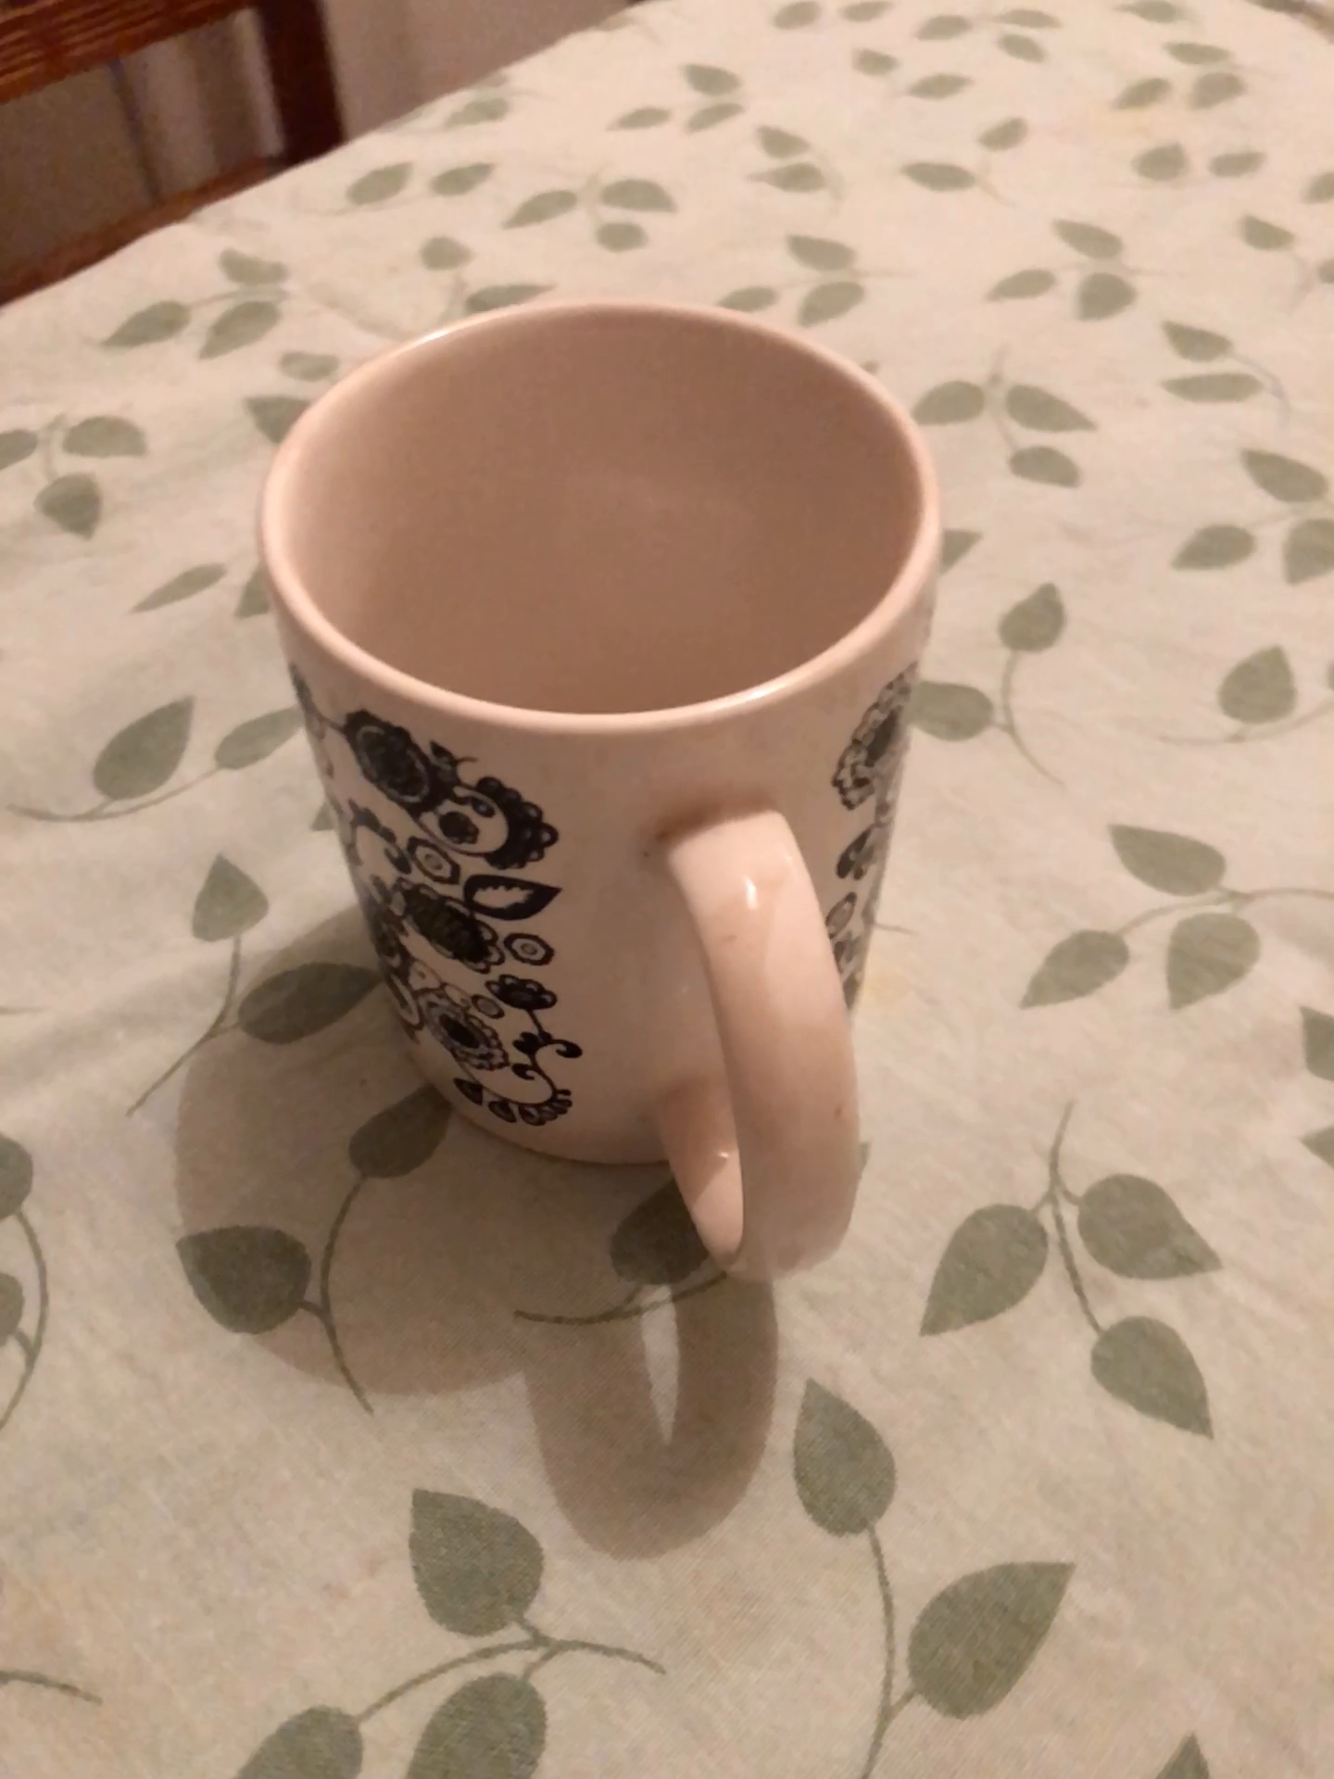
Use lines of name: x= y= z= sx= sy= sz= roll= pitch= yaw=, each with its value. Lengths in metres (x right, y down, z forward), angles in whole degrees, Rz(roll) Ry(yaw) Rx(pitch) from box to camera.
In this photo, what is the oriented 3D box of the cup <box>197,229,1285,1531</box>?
cup: x=-0.003 y=-0.003 z=0.195 sx=0.080 sy=0.099 sz=0.121 roll=-13 pitch=54 yaw=-10
